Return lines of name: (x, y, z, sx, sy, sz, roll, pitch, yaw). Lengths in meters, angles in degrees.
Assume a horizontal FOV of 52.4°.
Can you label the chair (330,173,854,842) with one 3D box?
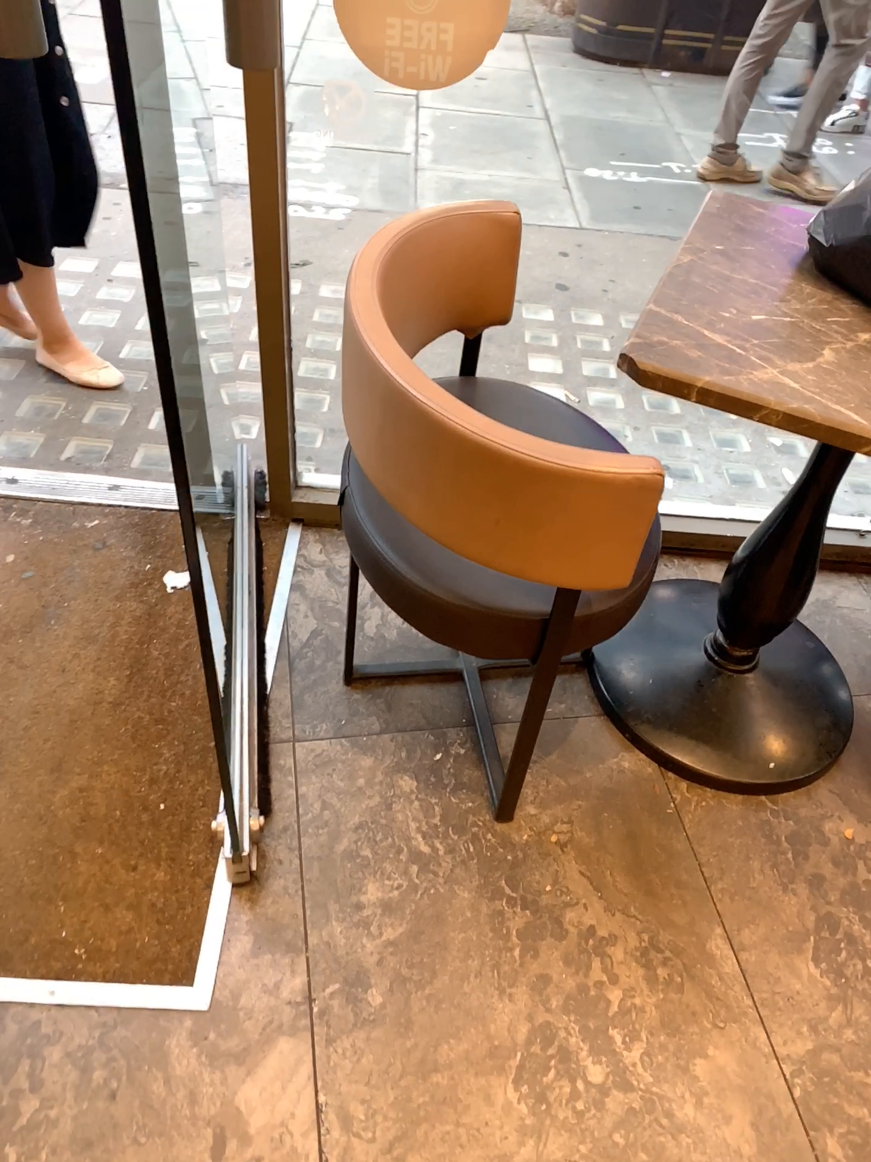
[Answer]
chair: (0.119, -0.121, 1.351, 0.510, 0.653, 0.768, 3, 44, -5)
